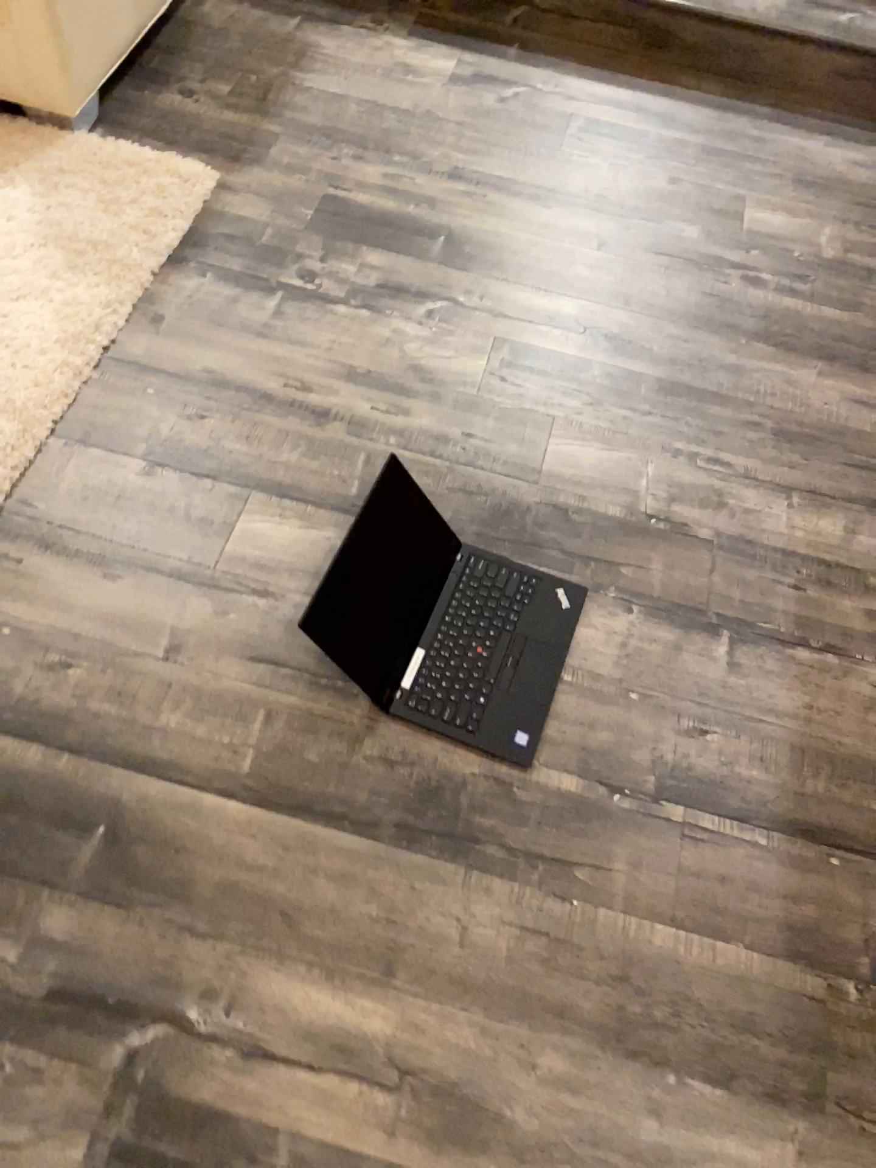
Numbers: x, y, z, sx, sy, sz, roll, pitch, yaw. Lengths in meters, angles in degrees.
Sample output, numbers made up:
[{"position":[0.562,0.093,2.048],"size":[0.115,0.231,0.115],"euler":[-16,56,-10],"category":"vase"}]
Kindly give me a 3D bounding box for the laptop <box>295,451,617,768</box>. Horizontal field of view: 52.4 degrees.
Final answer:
[{"position":[0.031,0.030,1.275],"size":[0.355,0.149,0.320],"euler":[22,57,3],"category":"laptop"}]
